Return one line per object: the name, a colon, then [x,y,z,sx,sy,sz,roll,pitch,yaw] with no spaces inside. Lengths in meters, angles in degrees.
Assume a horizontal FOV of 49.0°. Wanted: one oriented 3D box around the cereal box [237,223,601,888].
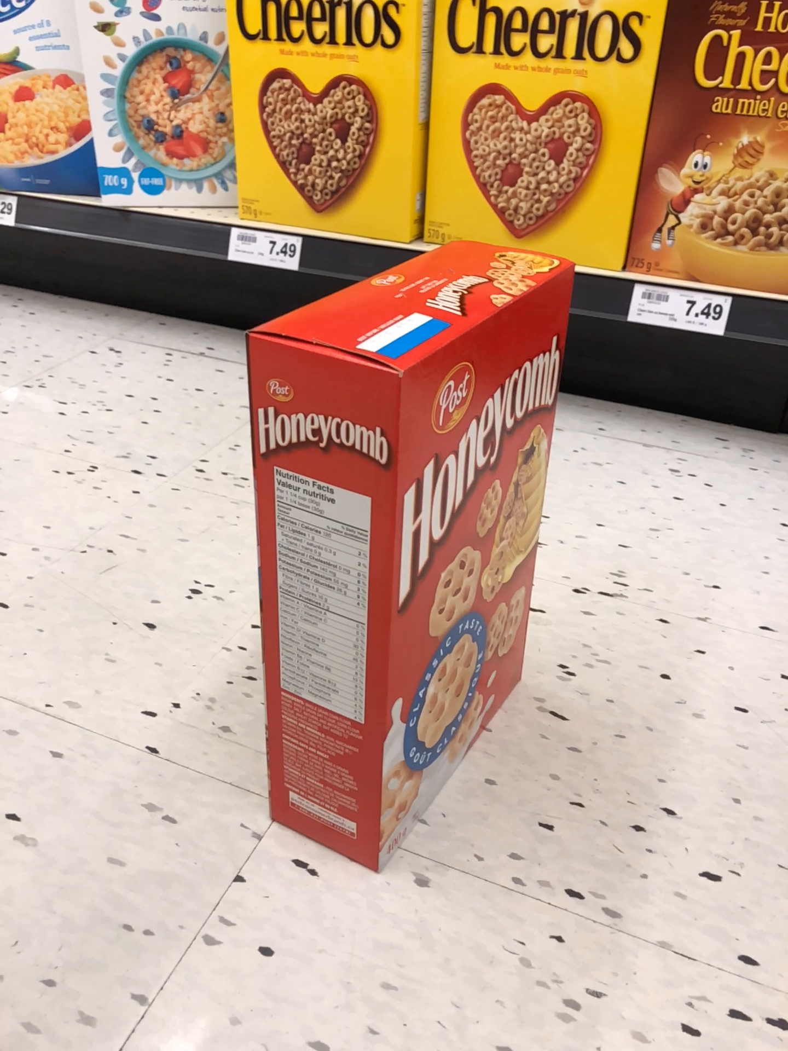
cereal box: [0.018,0.011,0.477,0.080,0.298,0.201,19,35,25]
